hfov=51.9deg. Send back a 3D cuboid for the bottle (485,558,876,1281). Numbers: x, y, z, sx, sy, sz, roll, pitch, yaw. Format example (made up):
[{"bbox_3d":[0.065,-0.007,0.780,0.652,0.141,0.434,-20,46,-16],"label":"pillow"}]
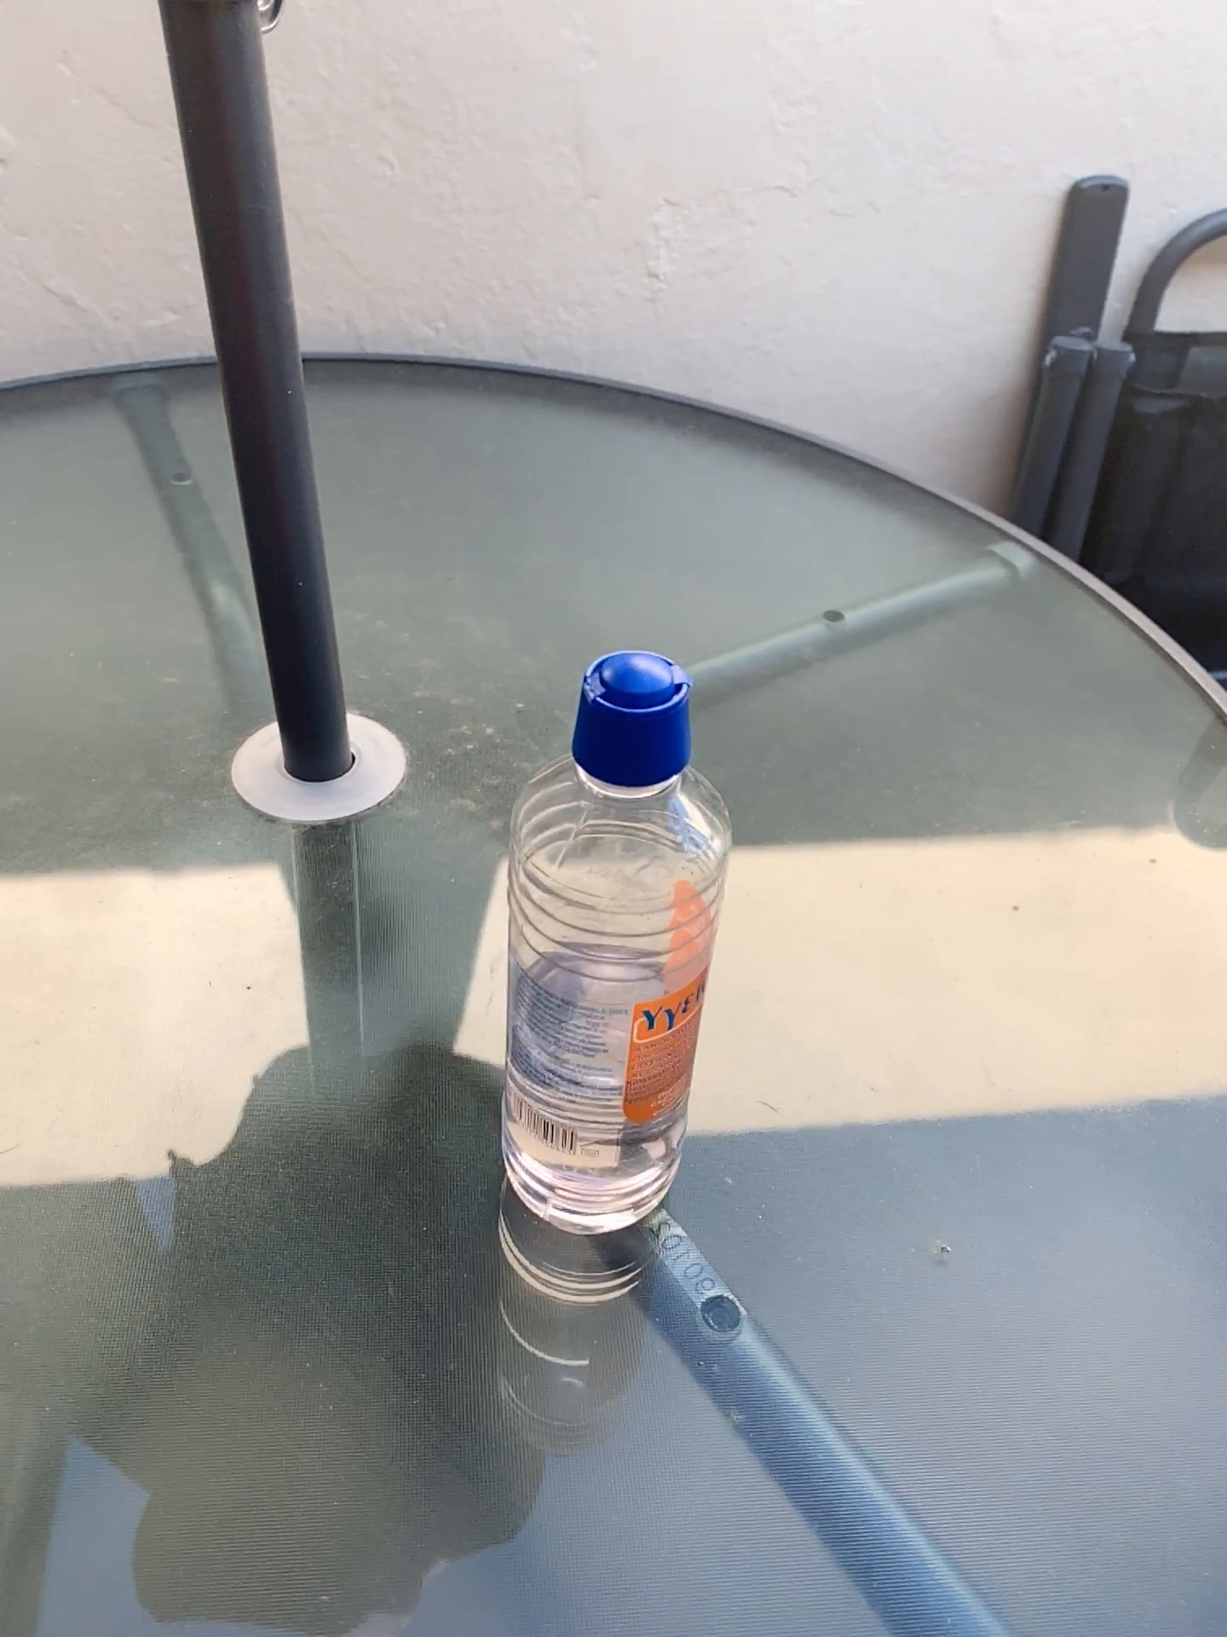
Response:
[{"bbox_3d":[0.011,0.030,0.299,0.060,0.158,0.061,3,39,-2],"label":"bottle"}]
